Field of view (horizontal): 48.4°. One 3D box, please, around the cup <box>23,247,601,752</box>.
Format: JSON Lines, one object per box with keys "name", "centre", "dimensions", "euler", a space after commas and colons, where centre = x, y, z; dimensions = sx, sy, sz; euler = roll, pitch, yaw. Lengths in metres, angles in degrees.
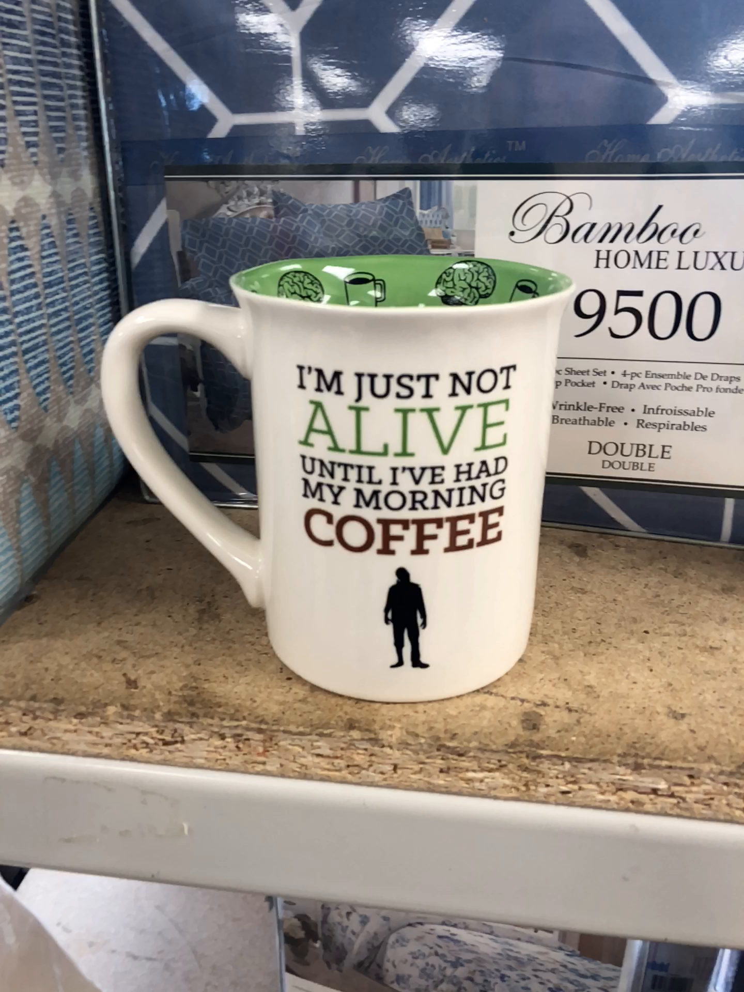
{"name": "cup", "centre": [-0.010, -0.009, 0.262], "dimensions": [0.138, 0.124, 0.100], "euler": [3, 22, 8]}
